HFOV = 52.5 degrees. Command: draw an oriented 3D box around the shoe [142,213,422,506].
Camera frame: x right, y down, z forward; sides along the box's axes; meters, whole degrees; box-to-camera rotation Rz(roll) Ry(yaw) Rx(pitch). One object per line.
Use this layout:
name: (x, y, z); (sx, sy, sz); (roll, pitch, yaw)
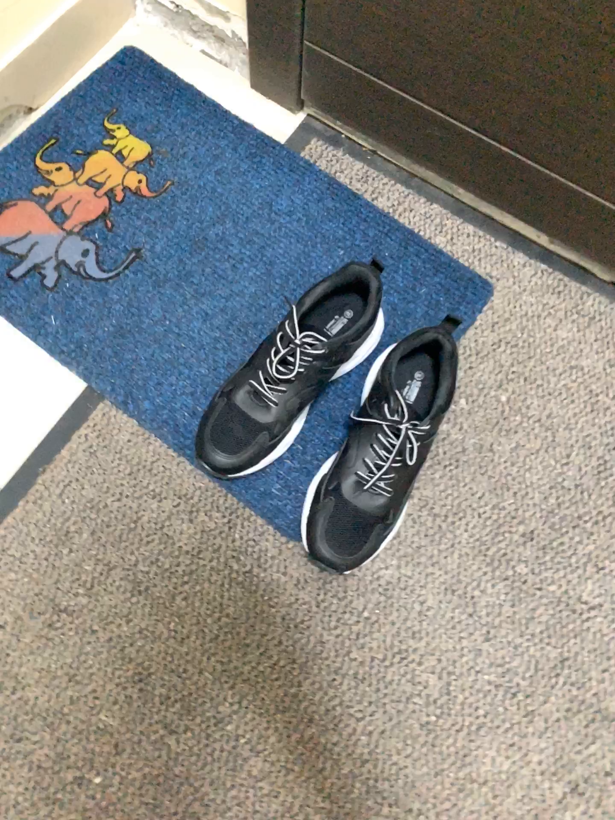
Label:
shoe: (-0.019, -0.049, 0.611); (0.110, 0.100, 0.260); (39, 73, 10)

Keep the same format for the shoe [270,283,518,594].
shoe: (0.080, 0.027, 0.593); (0.110, 0.100, 0.260); (30, 72, 7)
